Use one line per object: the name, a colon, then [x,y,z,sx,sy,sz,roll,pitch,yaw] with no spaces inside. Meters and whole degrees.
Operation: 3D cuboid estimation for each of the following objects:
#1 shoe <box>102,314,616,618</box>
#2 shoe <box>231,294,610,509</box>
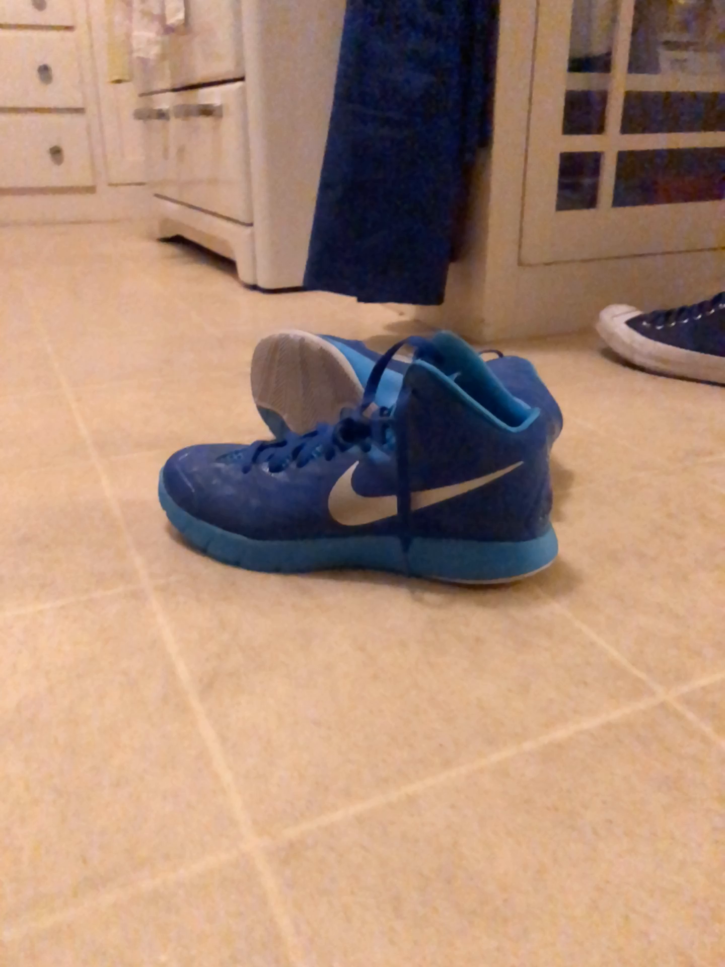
shoe: [0.002,-0.024,0.548,0.310,0.144,0.121,6,25,14]
shoe: [0.049,-0.086,0.698,0.281,0.119,0.160,12,21,25]
